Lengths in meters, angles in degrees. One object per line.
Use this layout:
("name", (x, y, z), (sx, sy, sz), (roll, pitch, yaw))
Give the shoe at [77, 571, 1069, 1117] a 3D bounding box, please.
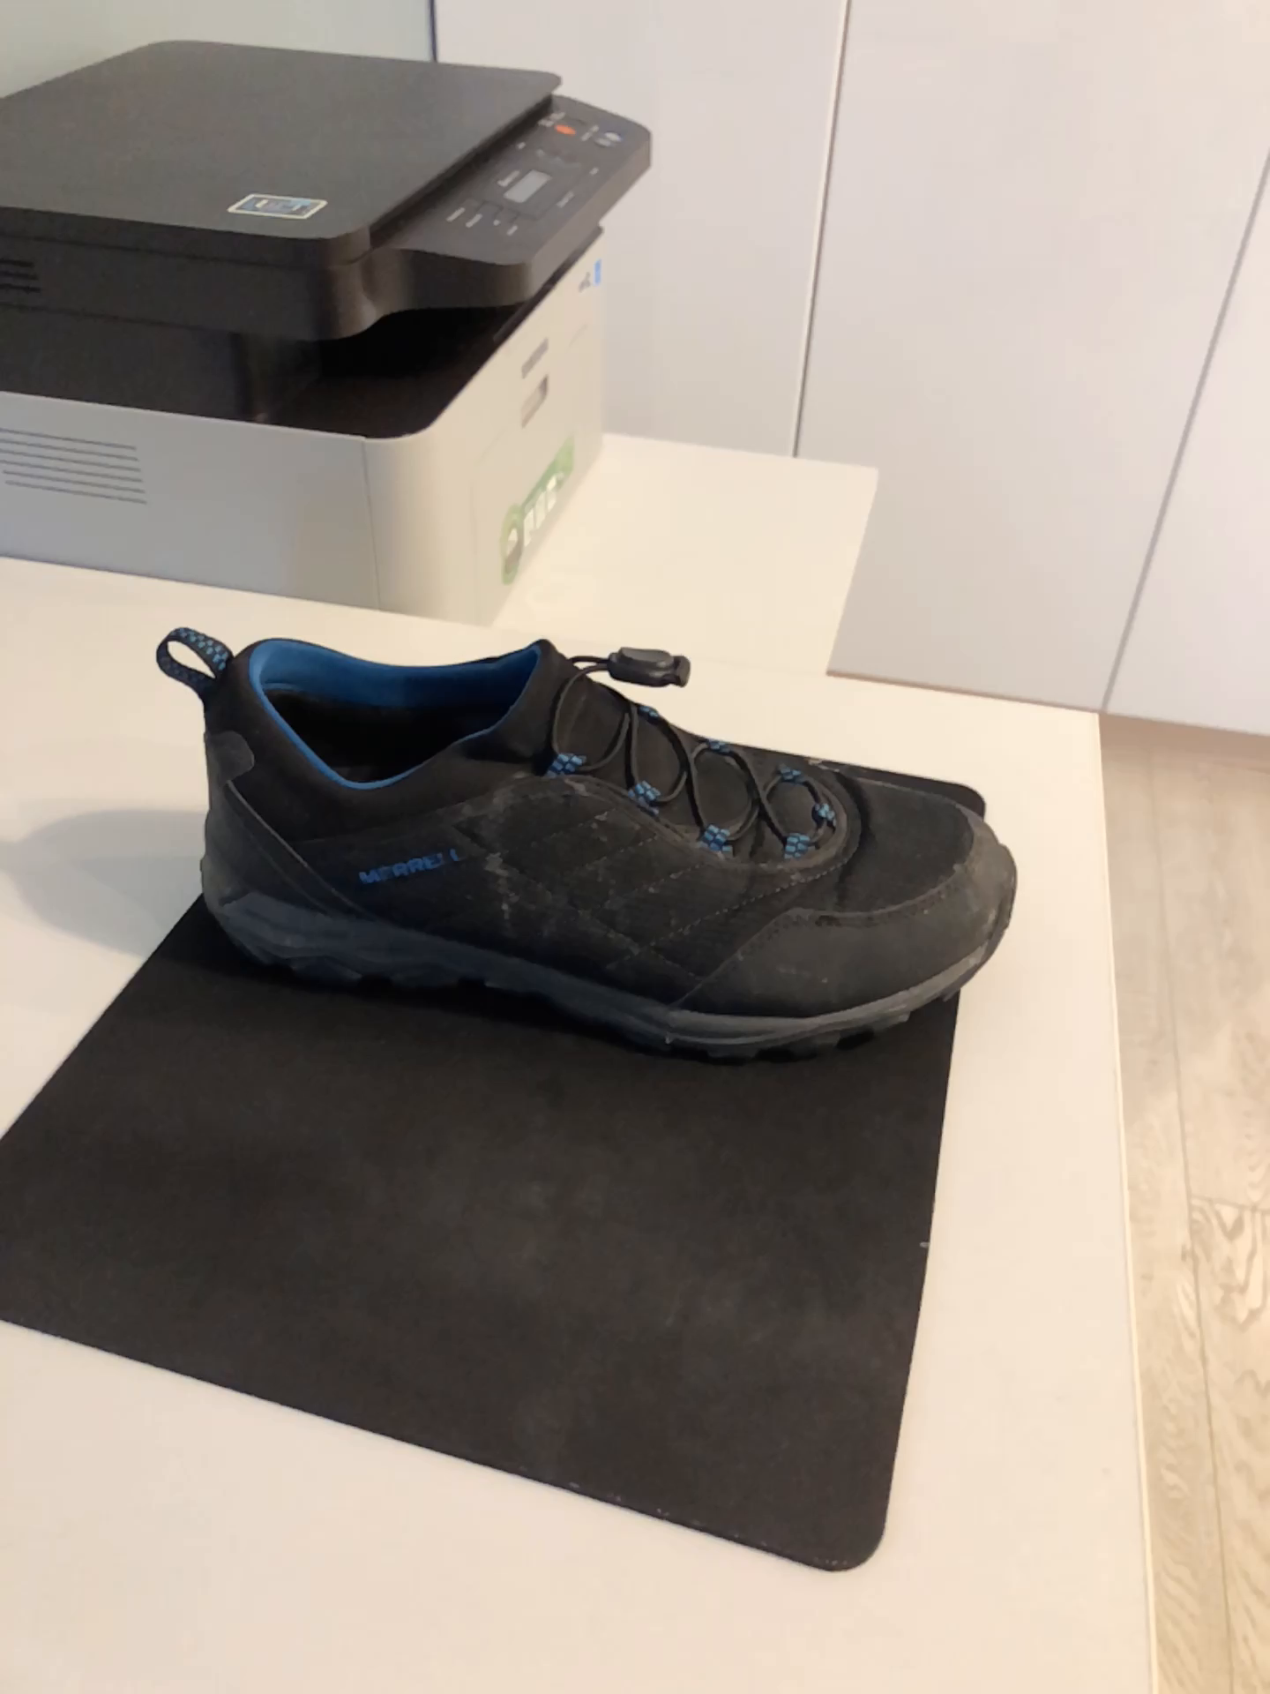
("shoe", (-0.017, -0.006, 0.503), (0.300, 0.109, 0.131), (6, 39, 4))
